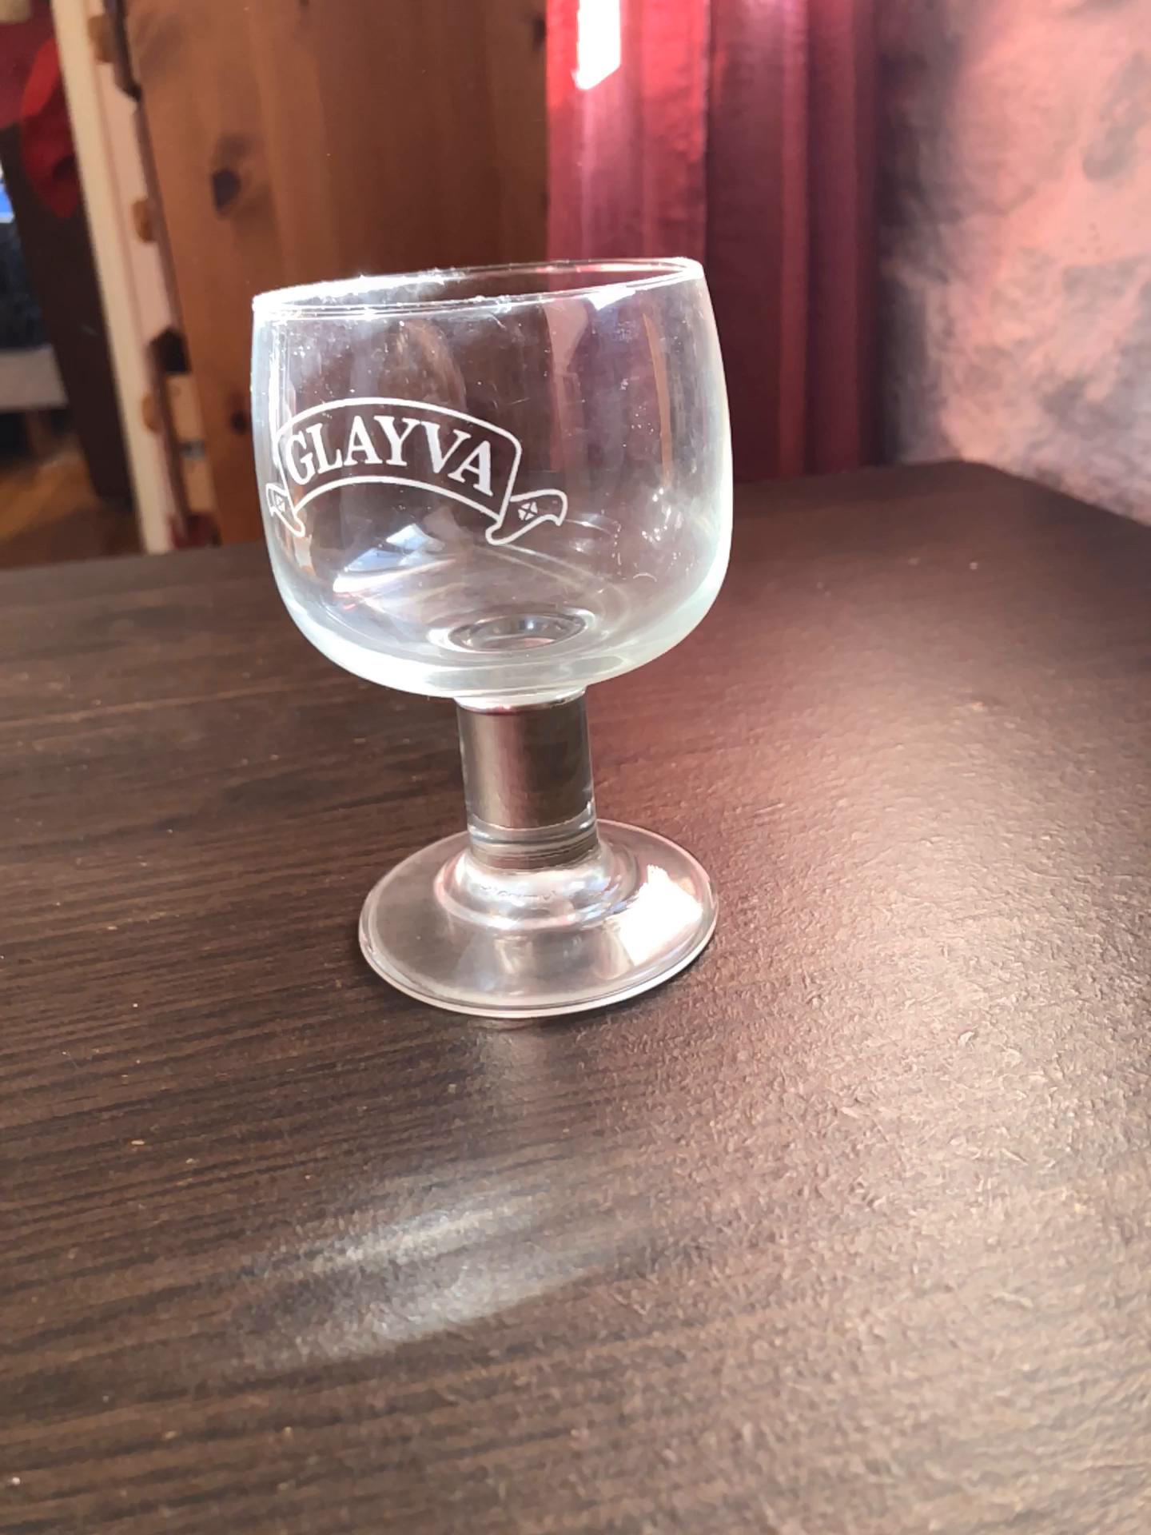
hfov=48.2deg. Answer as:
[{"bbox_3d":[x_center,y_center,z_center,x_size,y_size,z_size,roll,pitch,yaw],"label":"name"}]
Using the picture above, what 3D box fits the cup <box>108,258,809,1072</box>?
[{"bbox_3d":[-0.010,-0.026,0.217,0.077,0.107,0.086,7,25,21],"label":"cup"}]
